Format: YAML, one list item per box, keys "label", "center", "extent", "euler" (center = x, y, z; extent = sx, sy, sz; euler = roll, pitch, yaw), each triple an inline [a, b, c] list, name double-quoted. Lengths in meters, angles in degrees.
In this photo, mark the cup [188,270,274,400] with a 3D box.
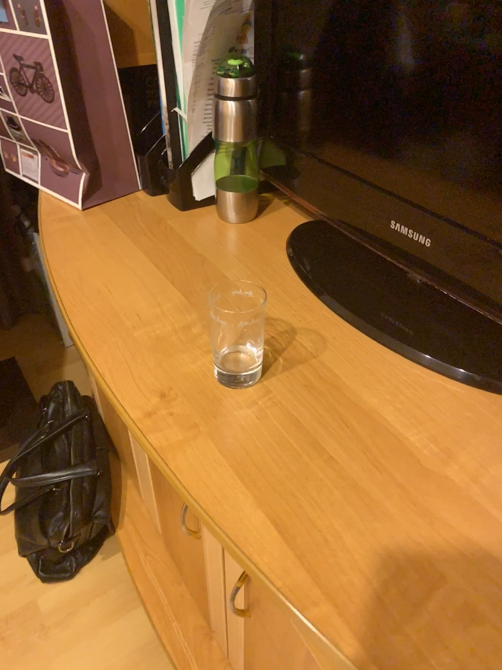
- label: "cup"
  center: [-0.020, -0.001, 0.506]
  extent: [0.060, 0.098, 0.061]
  euler: [0, 37, 0]
